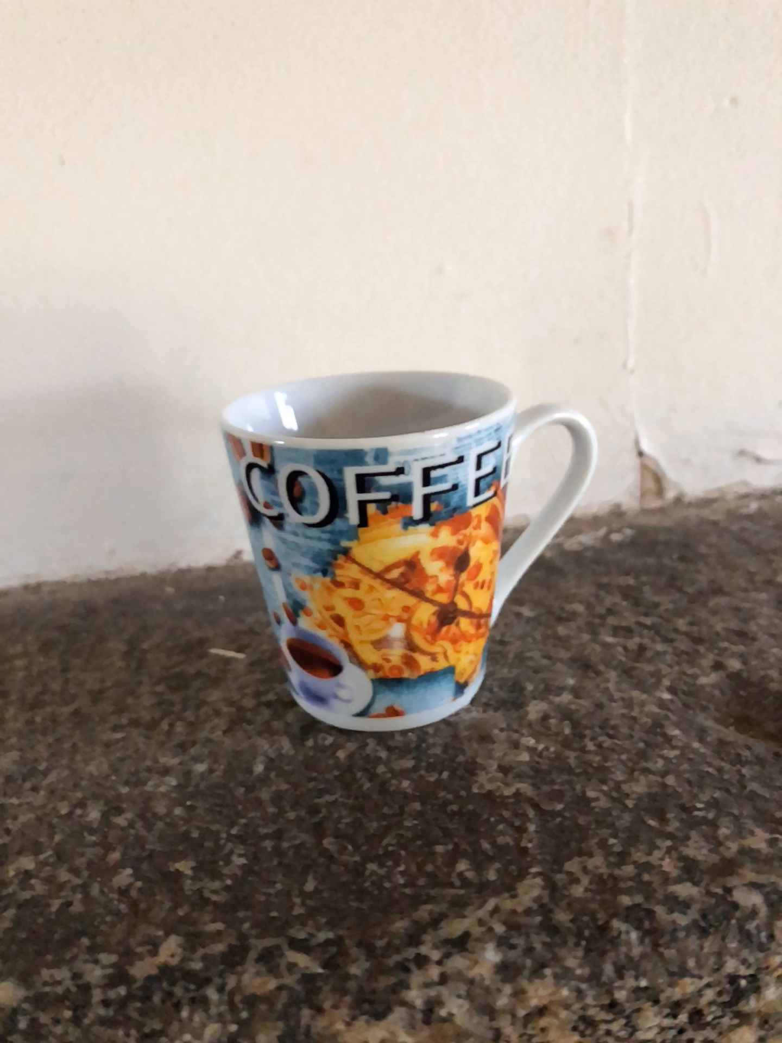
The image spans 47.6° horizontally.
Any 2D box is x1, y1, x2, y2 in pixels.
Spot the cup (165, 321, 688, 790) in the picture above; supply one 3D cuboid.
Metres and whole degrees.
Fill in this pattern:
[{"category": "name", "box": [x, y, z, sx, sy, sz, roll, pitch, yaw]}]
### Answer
[{"category": "cup", "box": [0.006, -0.001, 0.177, 0.080, 0.060, 0.060, -14, 22, -23]}]
